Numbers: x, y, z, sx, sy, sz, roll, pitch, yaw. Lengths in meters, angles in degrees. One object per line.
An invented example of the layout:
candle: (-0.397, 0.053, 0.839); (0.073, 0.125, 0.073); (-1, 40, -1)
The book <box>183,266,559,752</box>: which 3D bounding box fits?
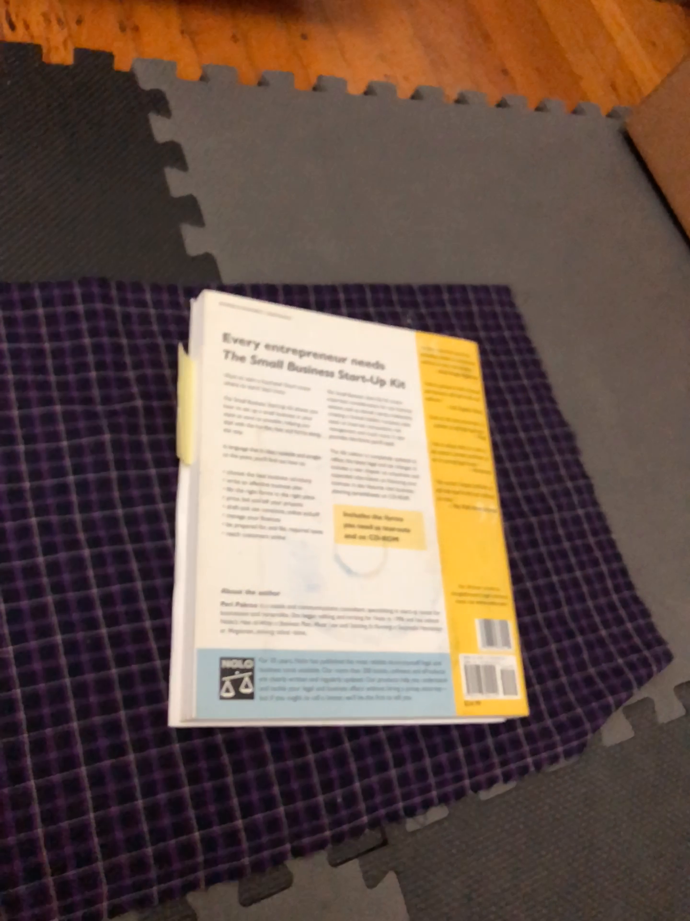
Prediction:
book: (0.015, 0.027, 0.519); (0.231, 0.030, 0.311); (8, 63, -22)
